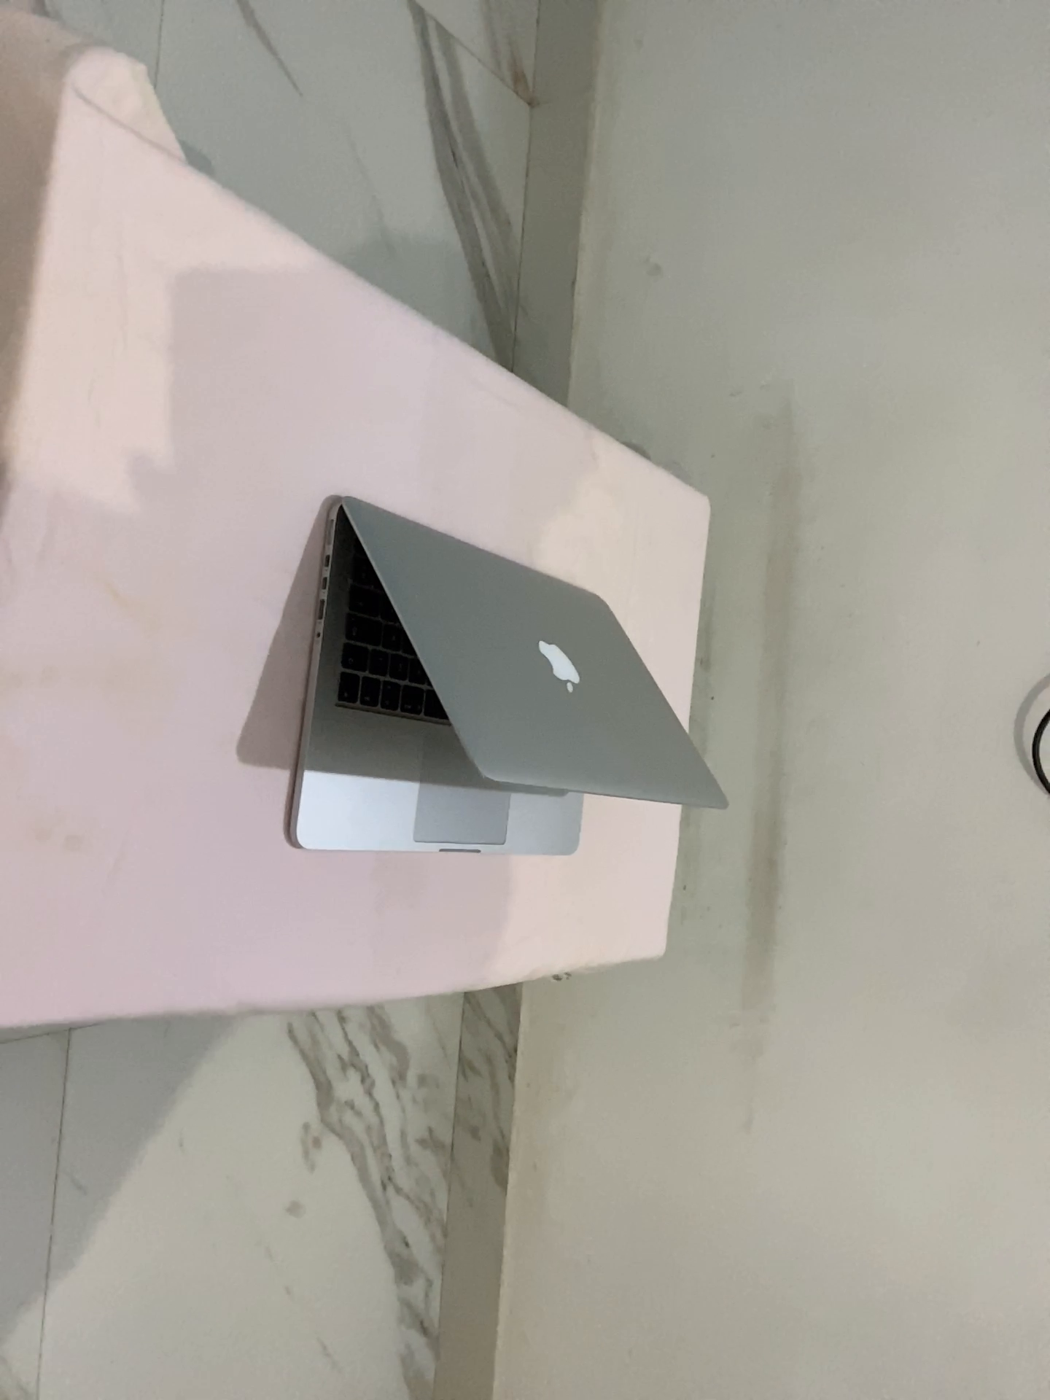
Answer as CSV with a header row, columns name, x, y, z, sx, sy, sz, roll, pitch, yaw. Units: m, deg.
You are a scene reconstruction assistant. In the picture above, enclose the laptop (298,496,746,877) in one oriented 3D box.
name,x,y,z,sx,sy,sz,roll,pitch,yaw
laptop,0.017,0.006,0.738,0.298,0.138,0.208,12,83,-54
